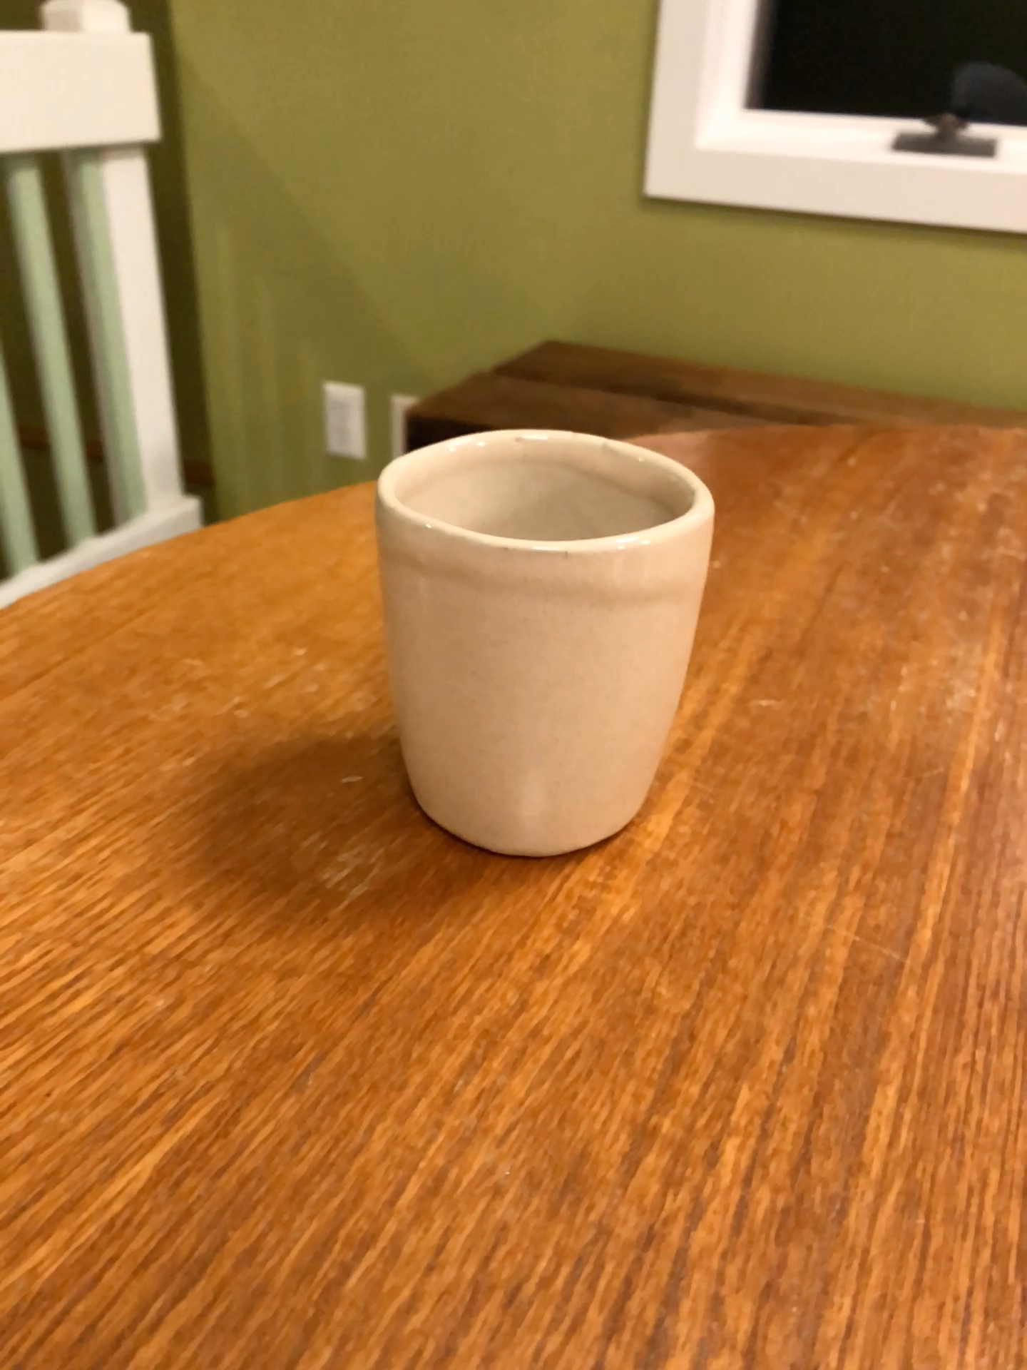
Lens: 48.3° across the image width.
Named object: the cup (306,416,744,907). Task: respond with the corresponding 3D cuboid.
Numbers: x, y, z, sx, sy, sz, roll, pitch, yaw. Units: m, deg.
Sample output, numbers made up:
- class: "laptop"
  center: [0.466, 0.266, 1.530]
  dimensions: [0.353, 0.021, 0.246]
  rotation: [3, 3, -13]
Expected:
- class: "cup"
  center: [0.005, -0.012, 0.300]
  dimensions: [0.084, 0.086, 0.083]
  rotation: [2, 29, -1]
